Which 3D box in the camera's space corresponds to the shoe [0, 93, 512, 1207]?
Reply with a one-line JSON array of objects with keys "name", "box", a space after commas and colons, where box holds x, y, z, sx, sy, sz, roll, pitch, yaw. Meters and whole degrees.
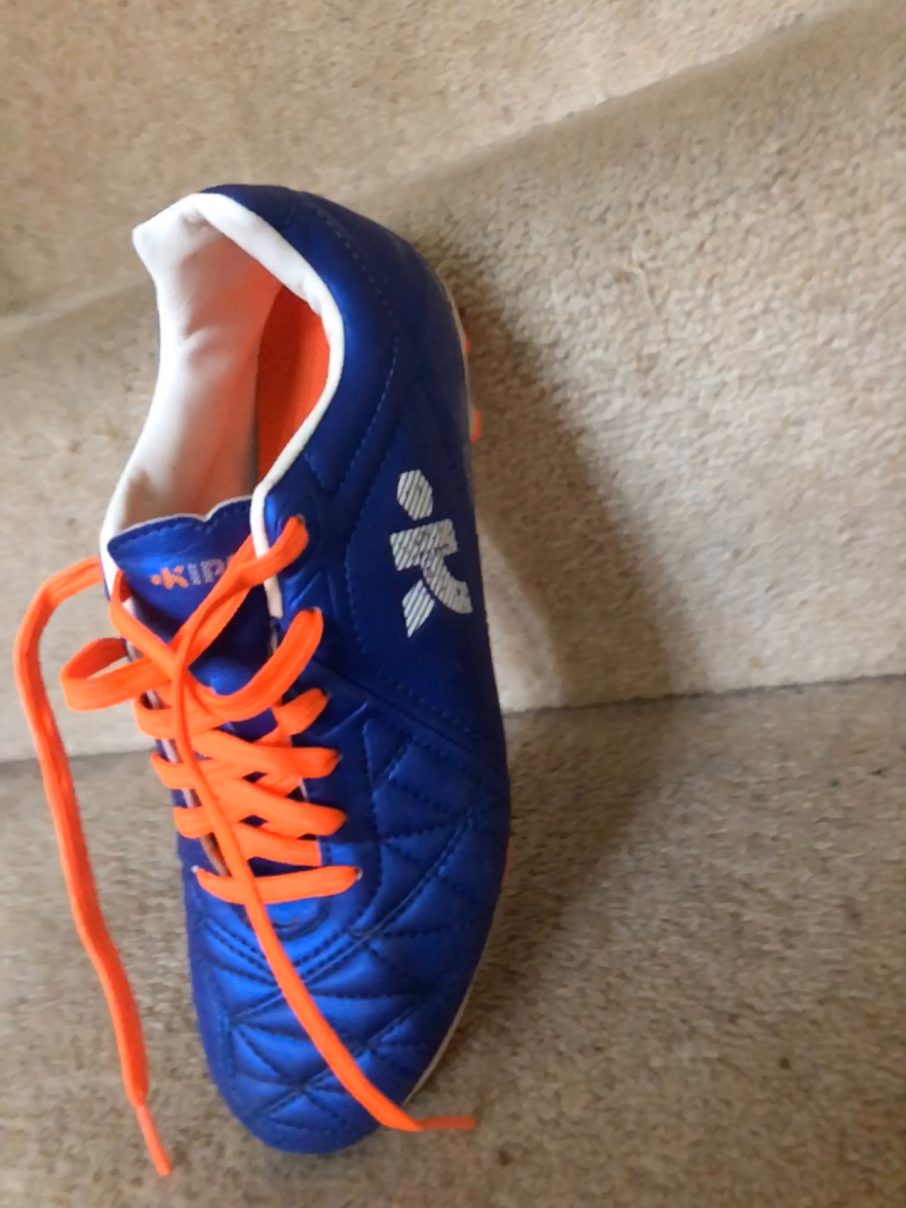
[{"name": "shoe", "box": [-0.039, 0.009, 0.247, 0.070, 0.210, 0.100, -4, -9, 27]}]
